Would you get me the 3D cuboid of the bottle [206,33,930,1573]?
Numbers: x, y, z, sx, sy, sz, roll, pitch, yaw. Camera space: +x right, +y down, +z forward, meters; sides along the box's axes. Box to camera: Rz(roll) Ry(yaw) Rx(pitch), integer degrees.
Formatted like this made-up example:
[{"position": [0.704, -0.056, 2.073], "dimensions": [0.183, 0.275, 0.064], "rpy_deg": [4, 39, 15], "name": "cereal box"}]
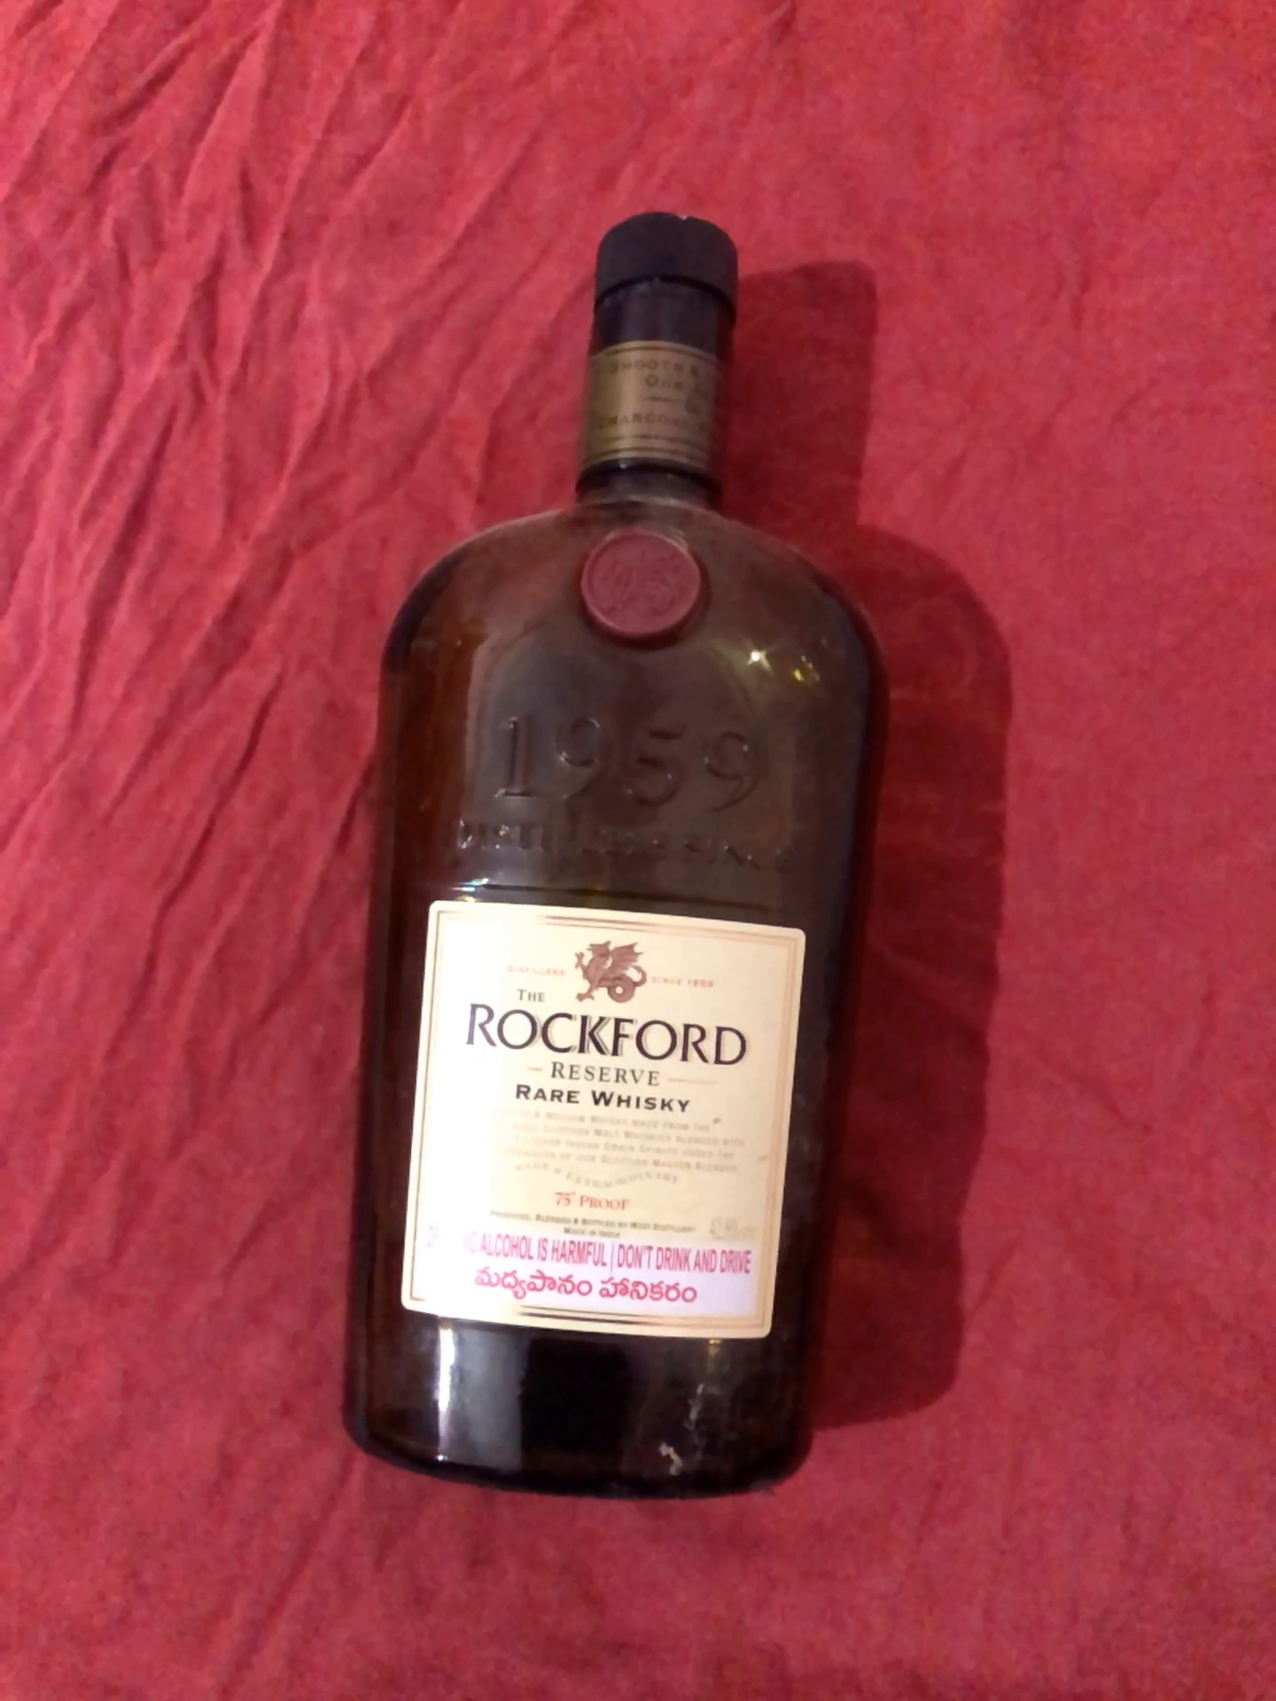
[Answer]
[{"position": [-0.007, -0.014, 0.263], "dimensions": [0.100, 0.060, 0.250], "rpy_deg": [4, 82, 1], "name": "bottle"}]
